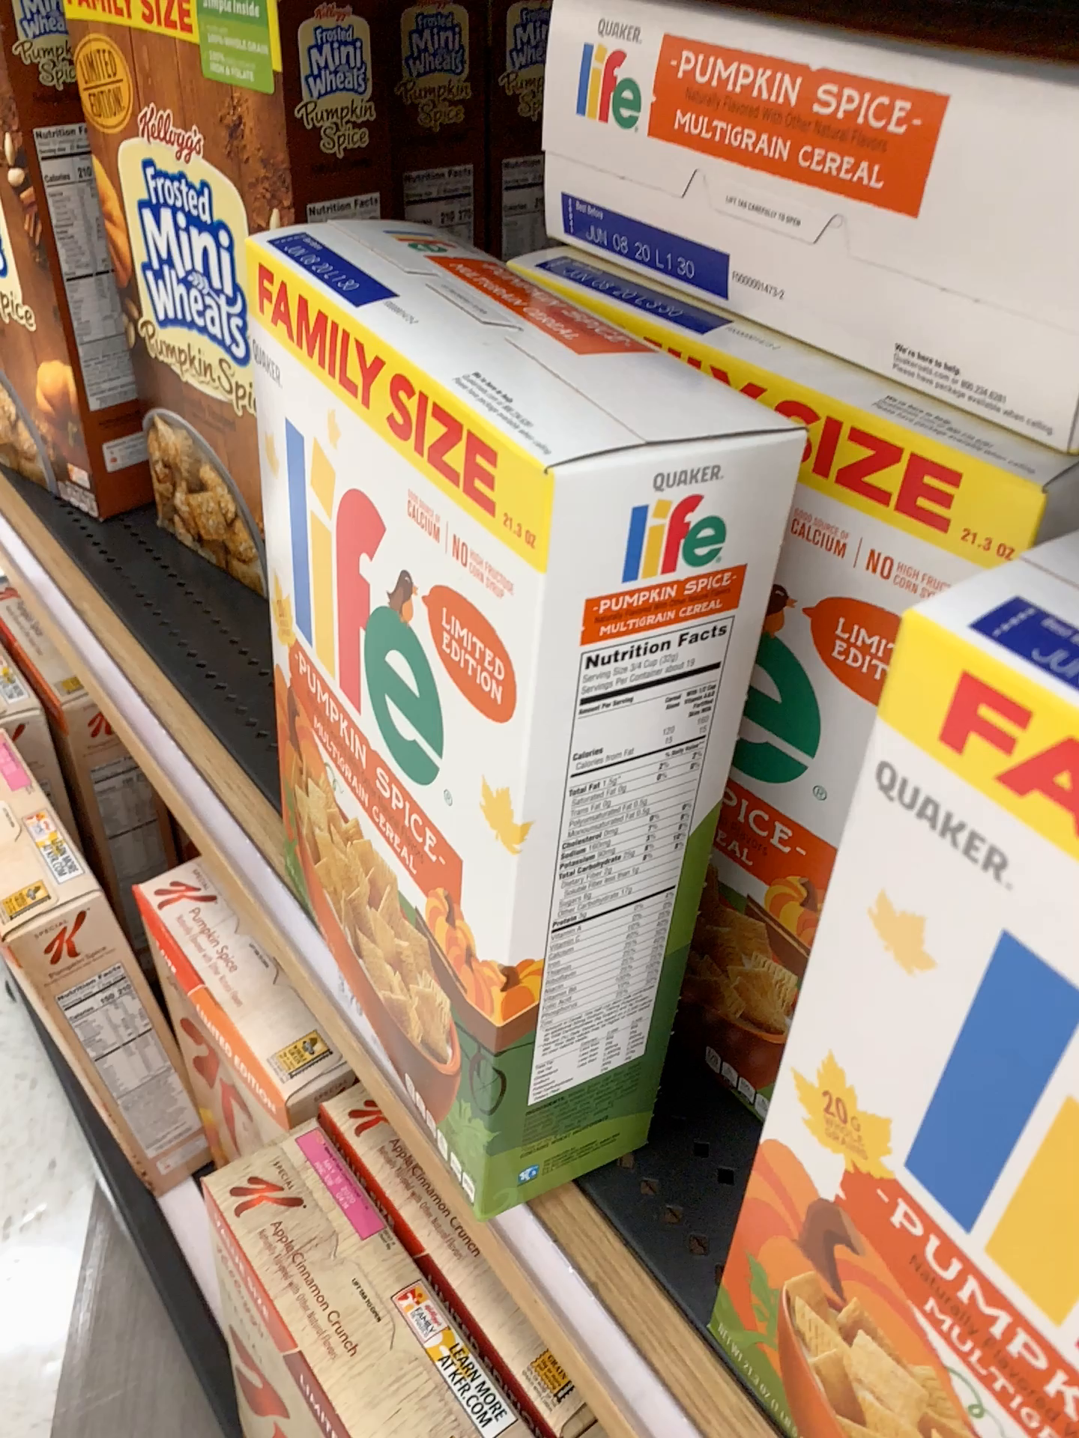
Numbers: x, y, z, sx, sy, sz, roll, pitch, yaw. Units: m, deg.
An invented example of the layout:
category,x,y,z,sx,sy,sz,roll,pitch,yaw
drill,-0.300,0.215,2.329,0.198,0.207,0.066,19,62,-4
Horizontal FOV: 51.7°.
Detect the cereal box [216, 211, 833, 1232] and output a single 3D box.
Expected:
category,x,y,z,sx,sy,sz,roll,pitch,yaw
cereal box,-0.031,-0.005,0.356,0.070,0.249,0.201,-14,41,-27
